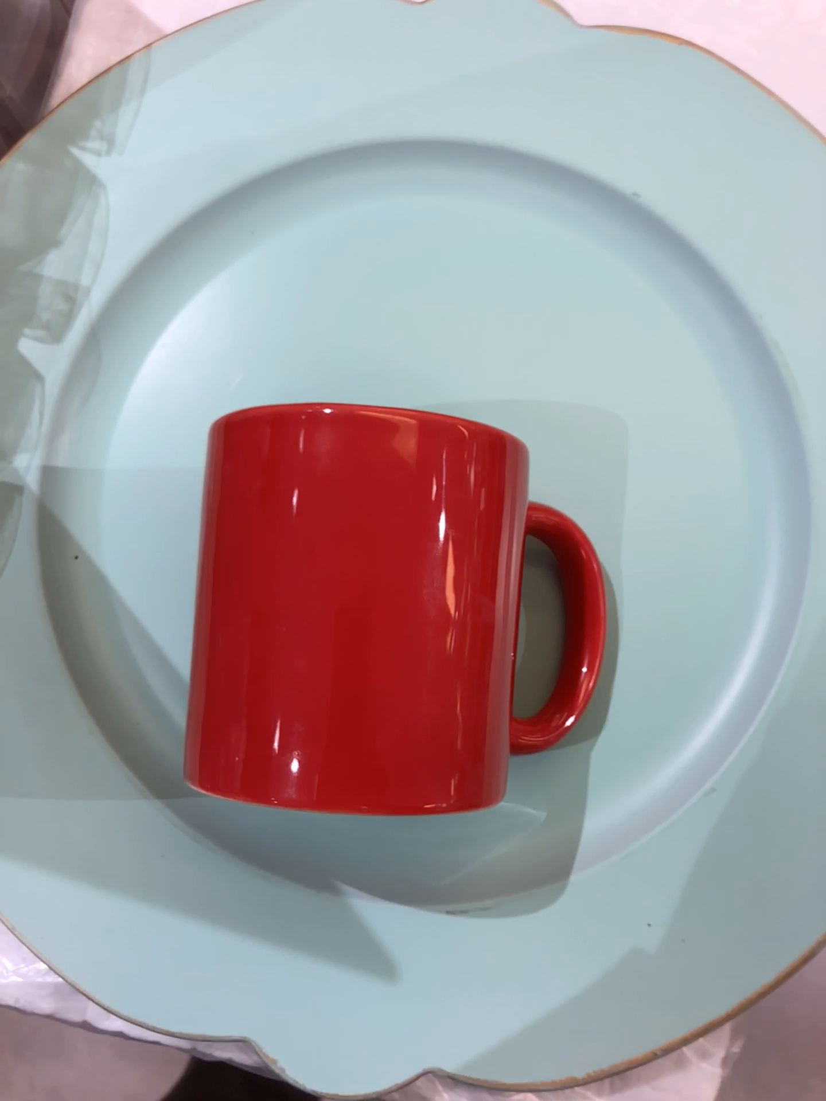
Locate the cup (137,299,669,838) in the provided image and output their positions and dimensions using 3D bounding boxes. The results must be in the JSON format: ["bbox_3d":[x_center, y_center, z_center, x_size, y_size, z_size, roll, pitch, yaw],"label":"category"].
[{"bbox_3d":[0.000,0.009,0.224,0.110,0.060,0.100,6,82,-31],"label":"cup"}]
